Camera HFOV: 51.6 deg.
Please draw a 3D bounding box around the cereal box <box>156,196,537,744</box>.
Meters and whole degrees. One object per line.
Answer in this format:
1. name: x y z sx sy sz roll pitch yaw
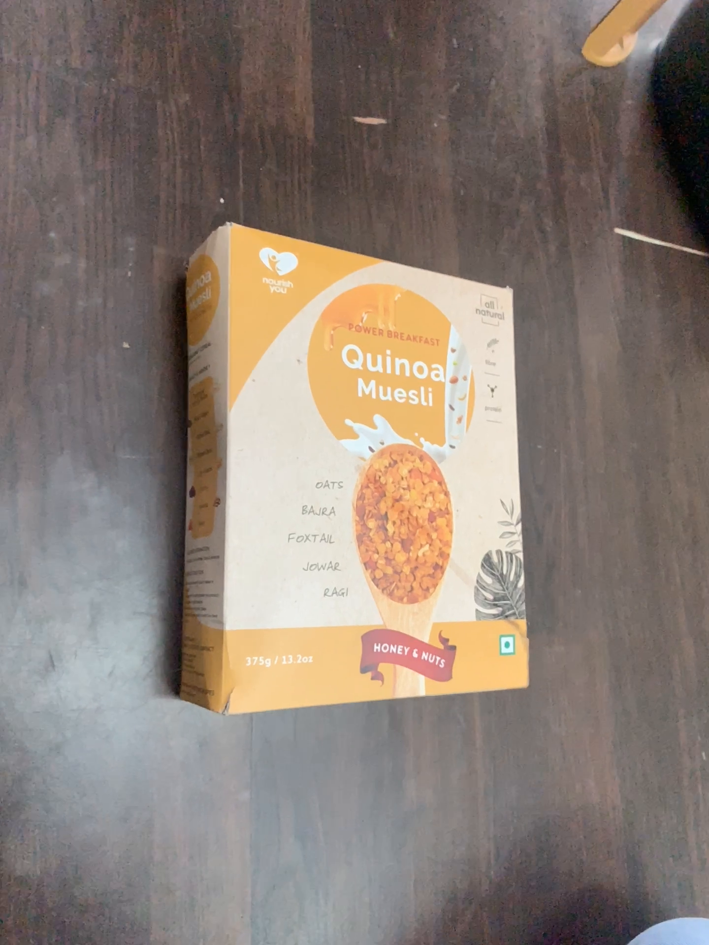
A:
1. cereal box: 0.001 0.003 0.357 0.171 0.060 0.220 5 82 -28
